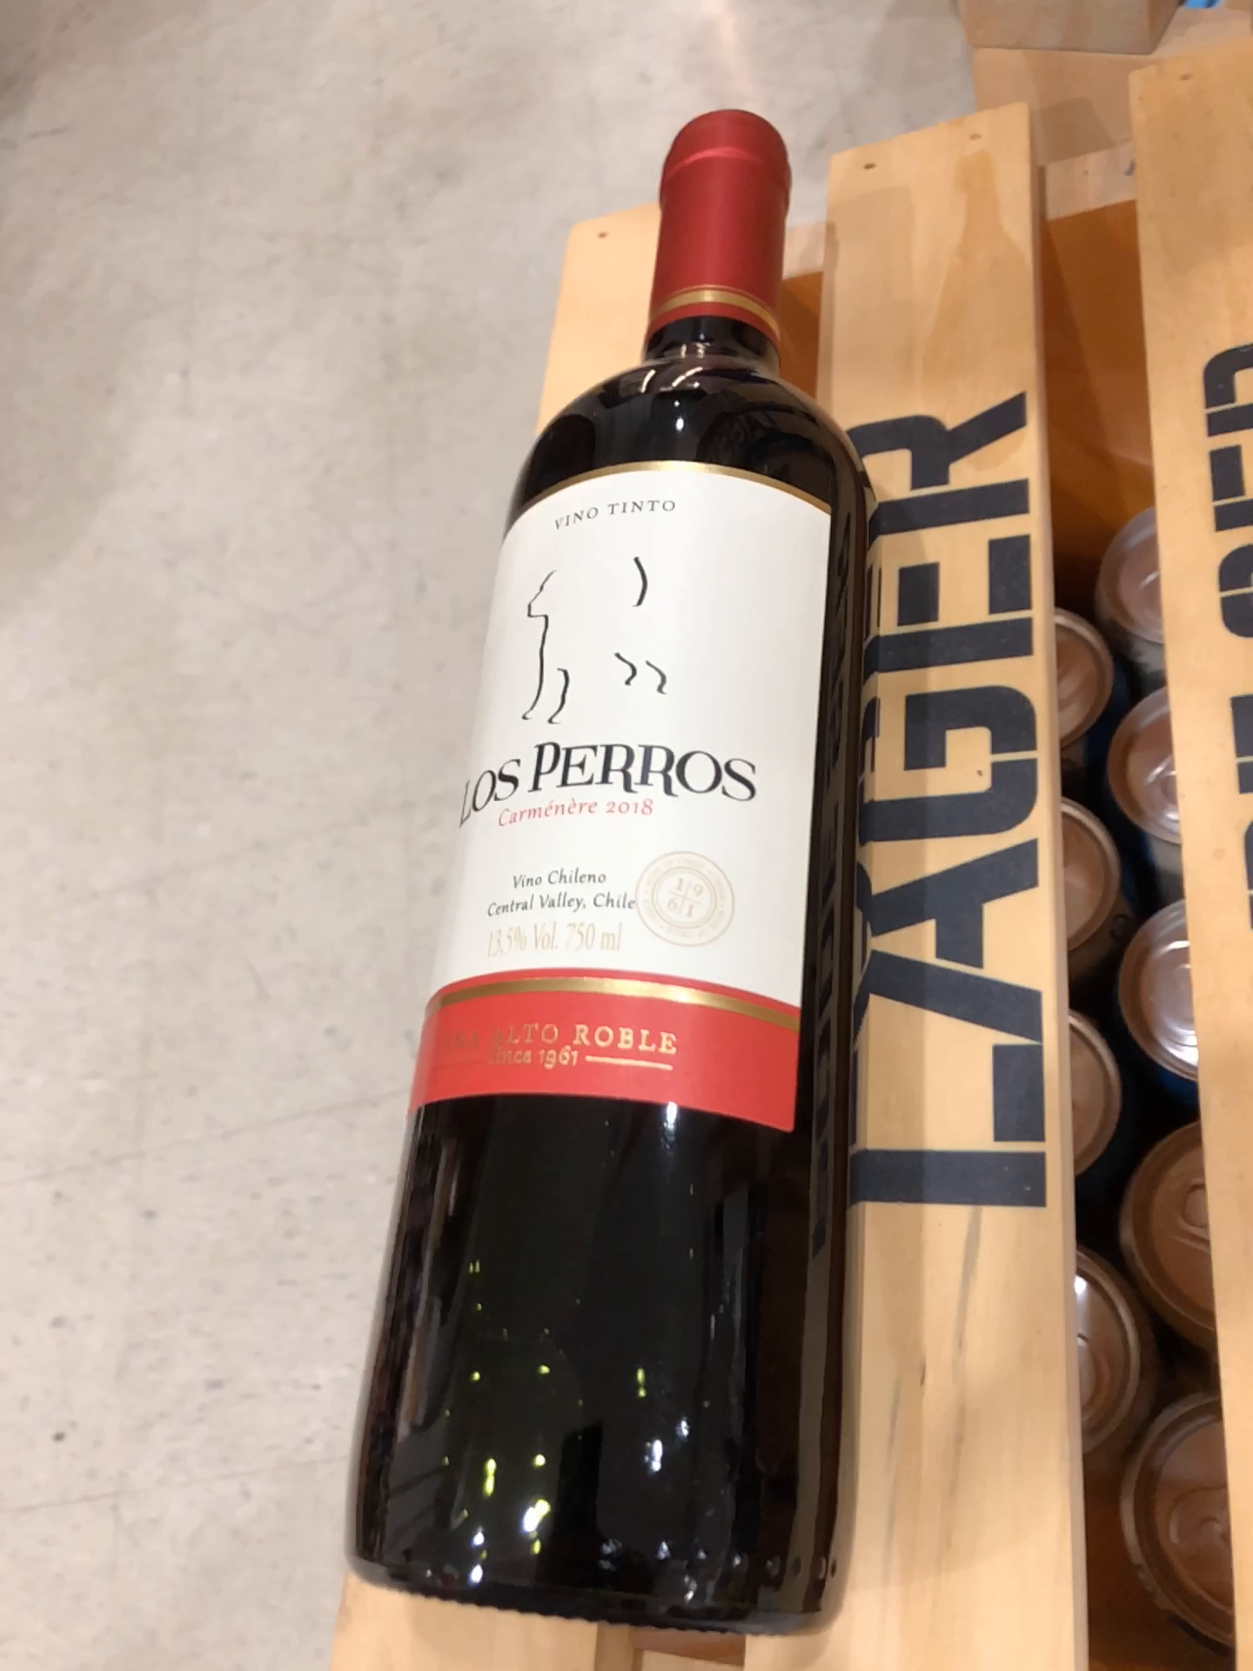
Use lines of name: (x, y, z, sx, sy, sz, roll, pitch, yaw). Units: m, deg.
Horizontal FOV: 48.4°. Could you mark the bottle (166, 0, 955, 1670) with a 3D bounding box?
bottle: (0.008, -0.028, 0.250, 0.090, 0.060, 0.311, -4, 65, 22)
